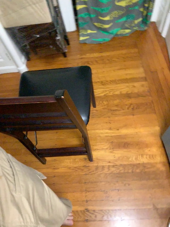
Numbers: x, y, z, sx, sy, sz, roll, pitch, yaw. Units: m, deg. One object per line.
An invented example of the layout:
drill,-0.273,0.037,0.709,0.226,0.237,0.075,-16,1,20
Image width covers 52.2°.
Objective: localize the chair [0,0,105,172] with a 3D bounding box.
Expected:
chair,-0.180,-0.103,0.864,0.490,0.867,0.552,-6,60,4
